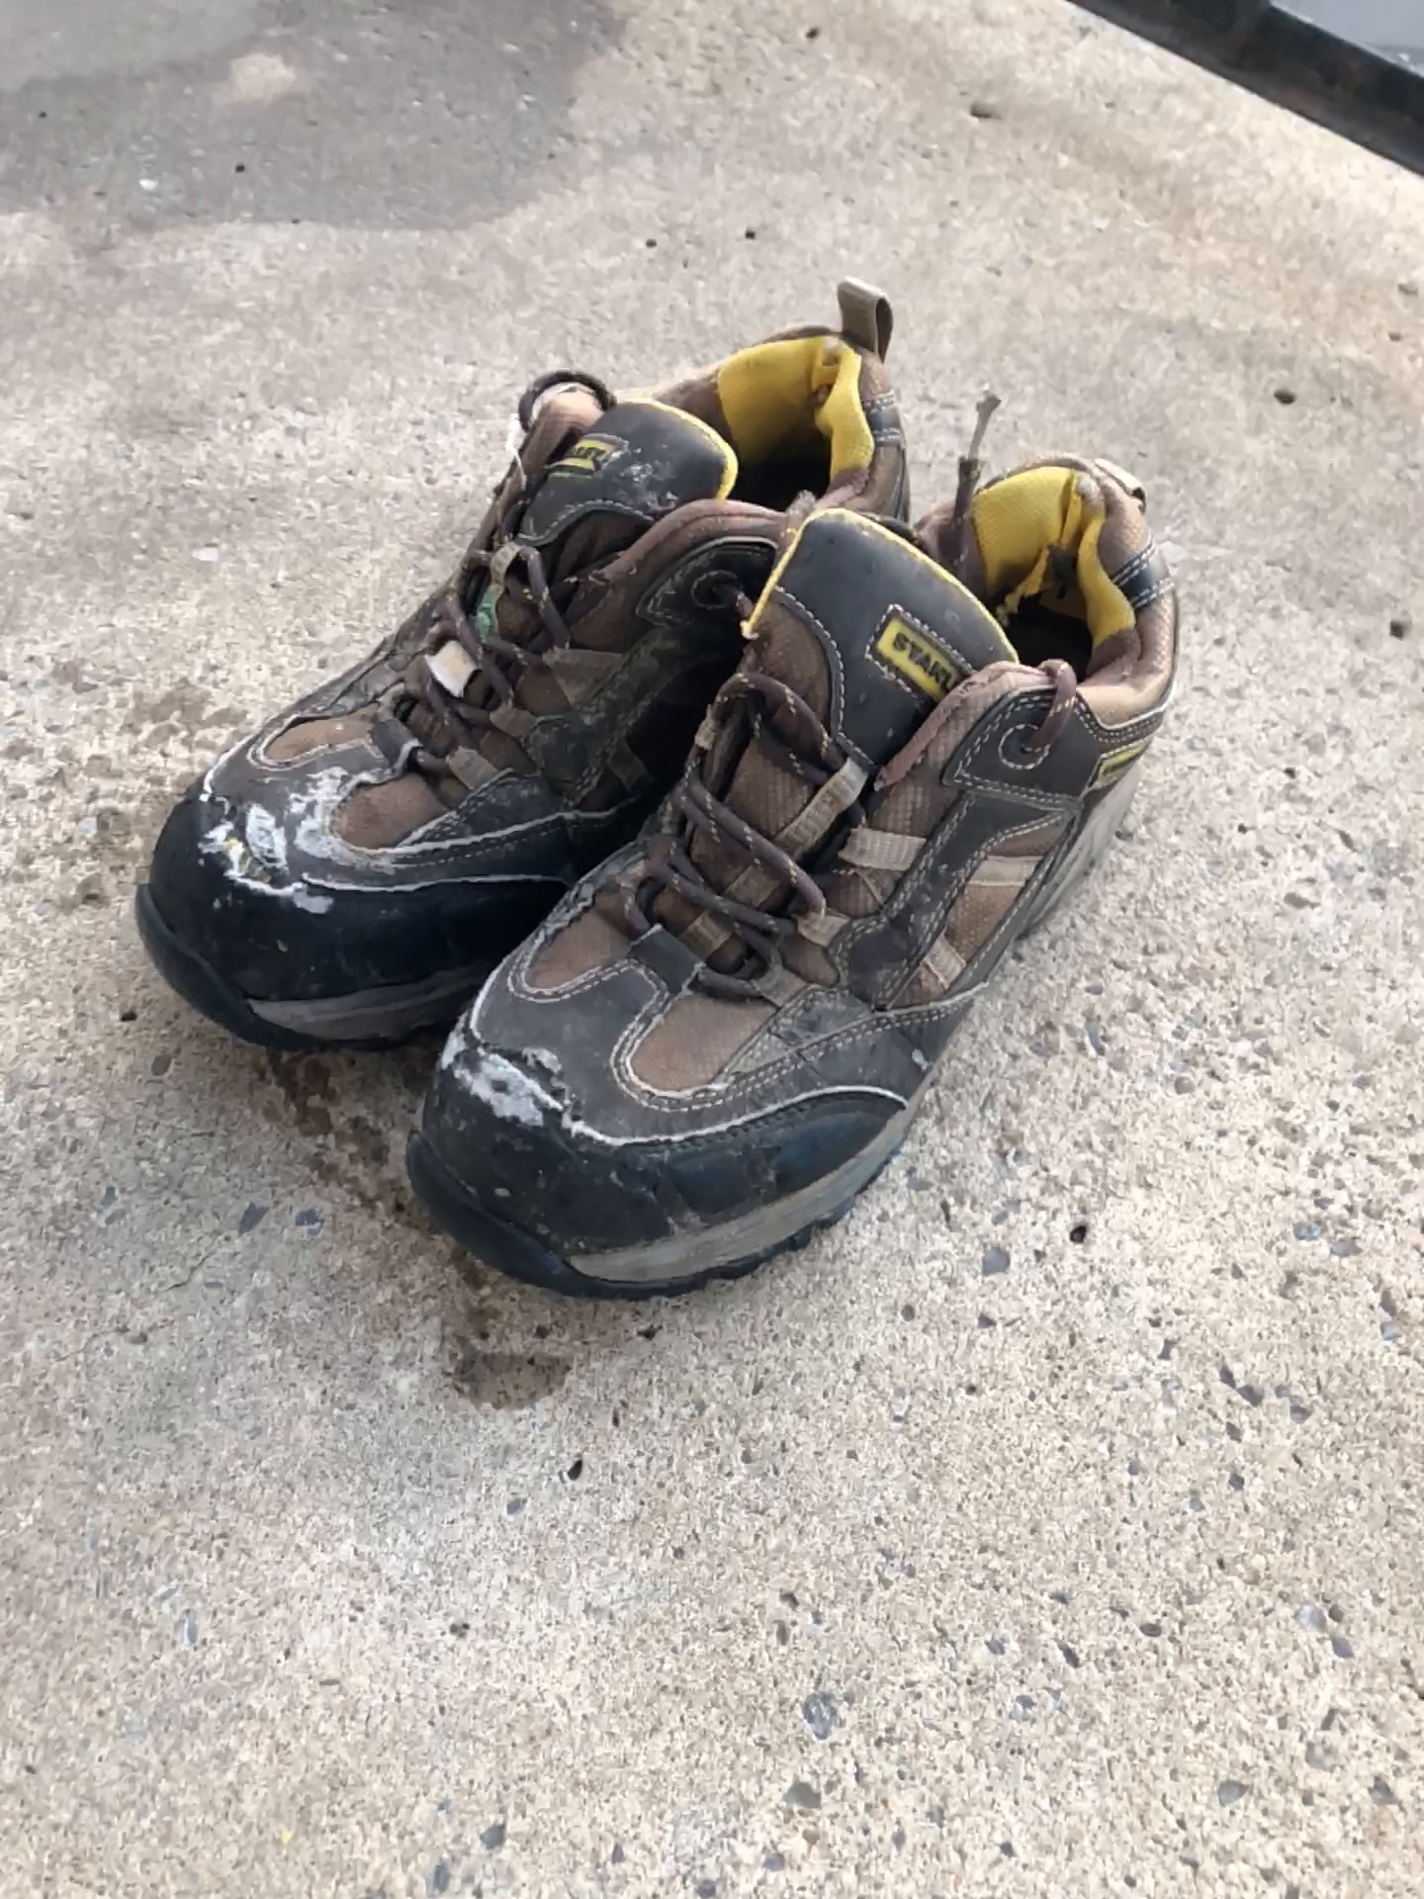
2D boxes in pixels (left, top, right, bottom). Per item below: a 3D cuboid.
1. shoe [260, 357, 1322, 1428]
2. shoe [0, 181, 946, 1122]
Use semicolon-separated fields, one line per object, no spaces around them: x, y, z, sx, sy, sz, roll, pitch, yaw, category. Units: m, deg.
0.024;-0.015;0.435;0.231;0.169;0.120;-38;65;-23;shoe
-0.061;-0.092;0.471;0.251;0.149;0.100;-38;65;-23;shoe
